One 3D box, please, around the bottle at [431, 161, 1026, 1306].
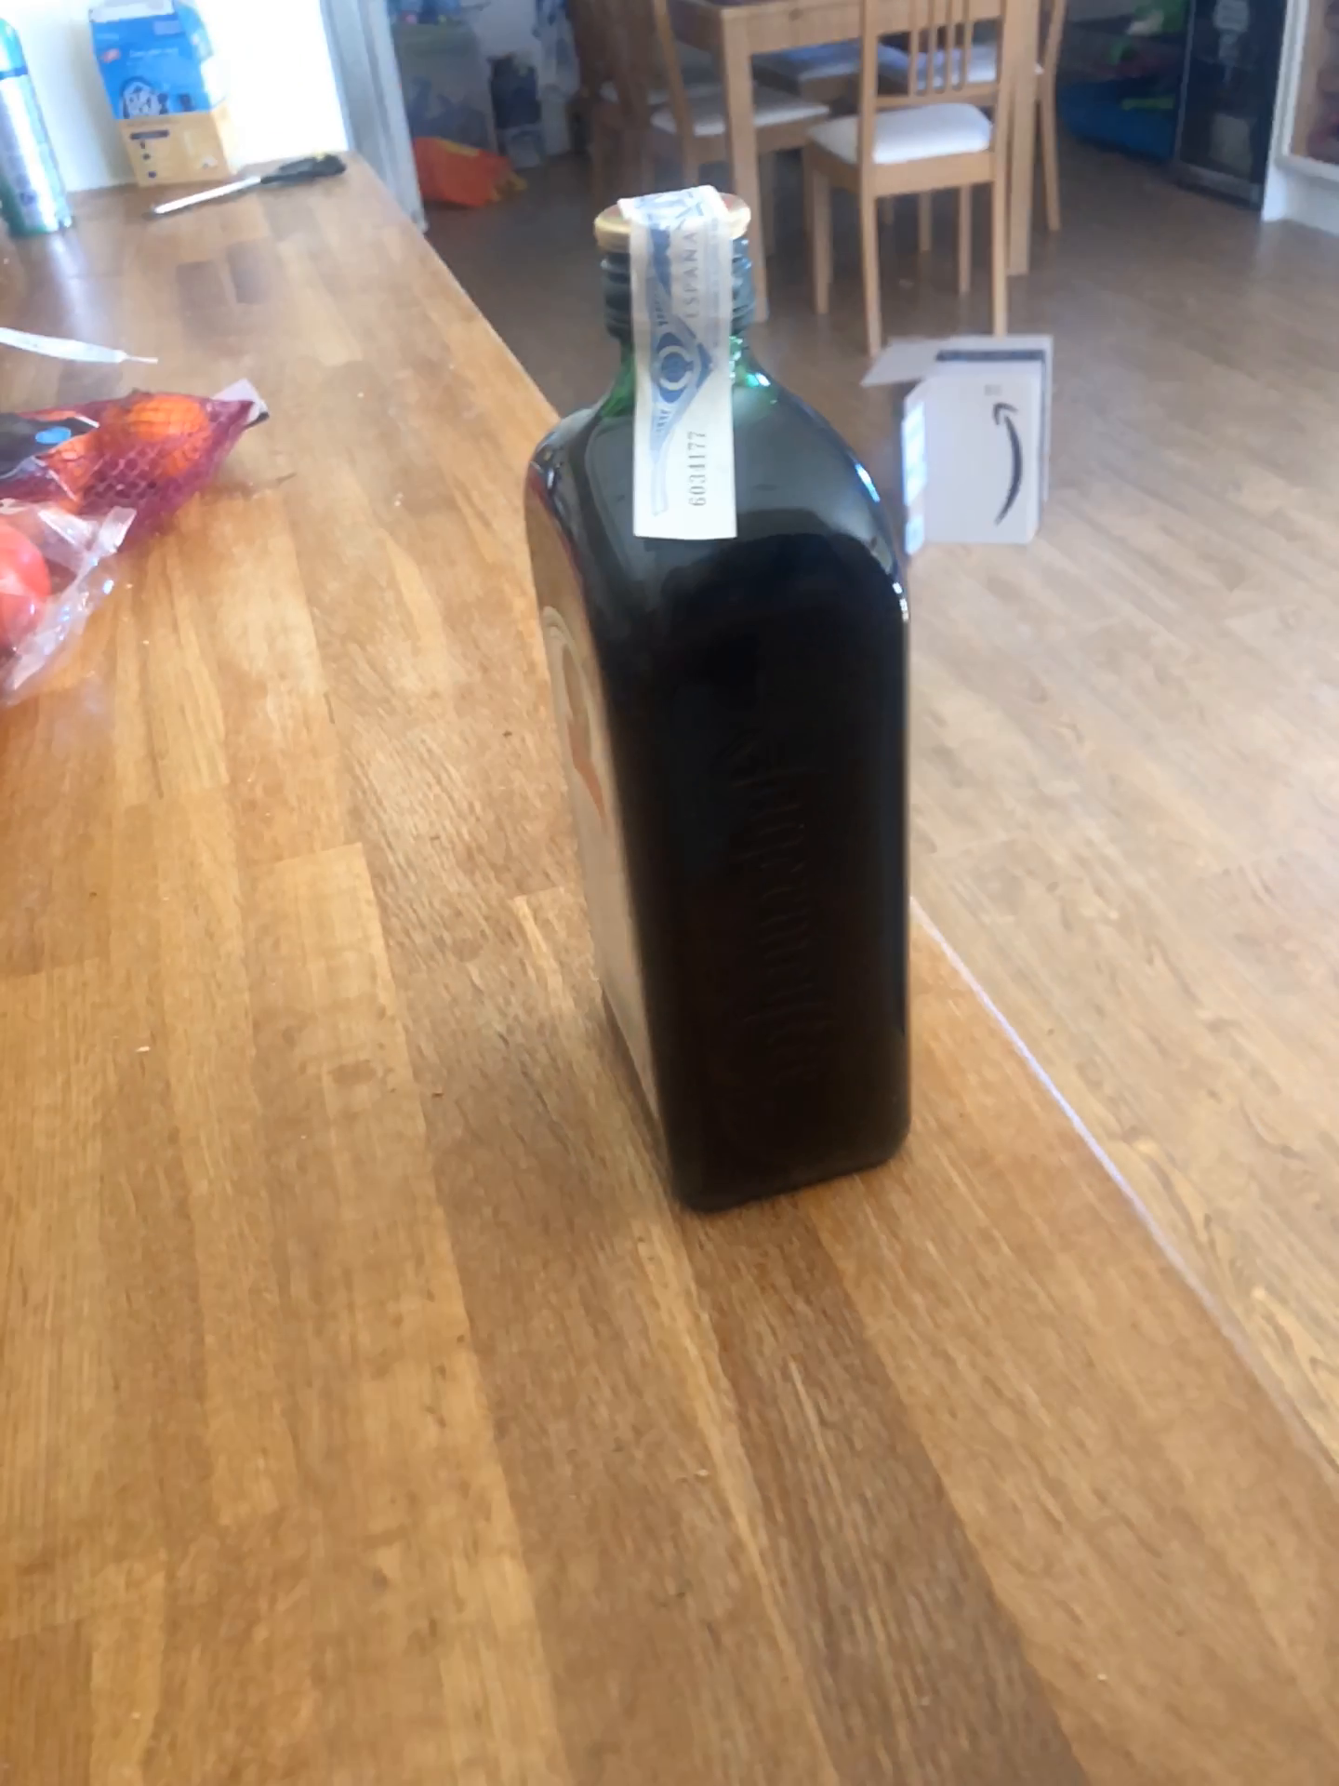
[{"bbox_3d":[0.014,-0.029,0.328,0.080,0.218,0.101,-14,36,-10],"label":"bottle"}]
